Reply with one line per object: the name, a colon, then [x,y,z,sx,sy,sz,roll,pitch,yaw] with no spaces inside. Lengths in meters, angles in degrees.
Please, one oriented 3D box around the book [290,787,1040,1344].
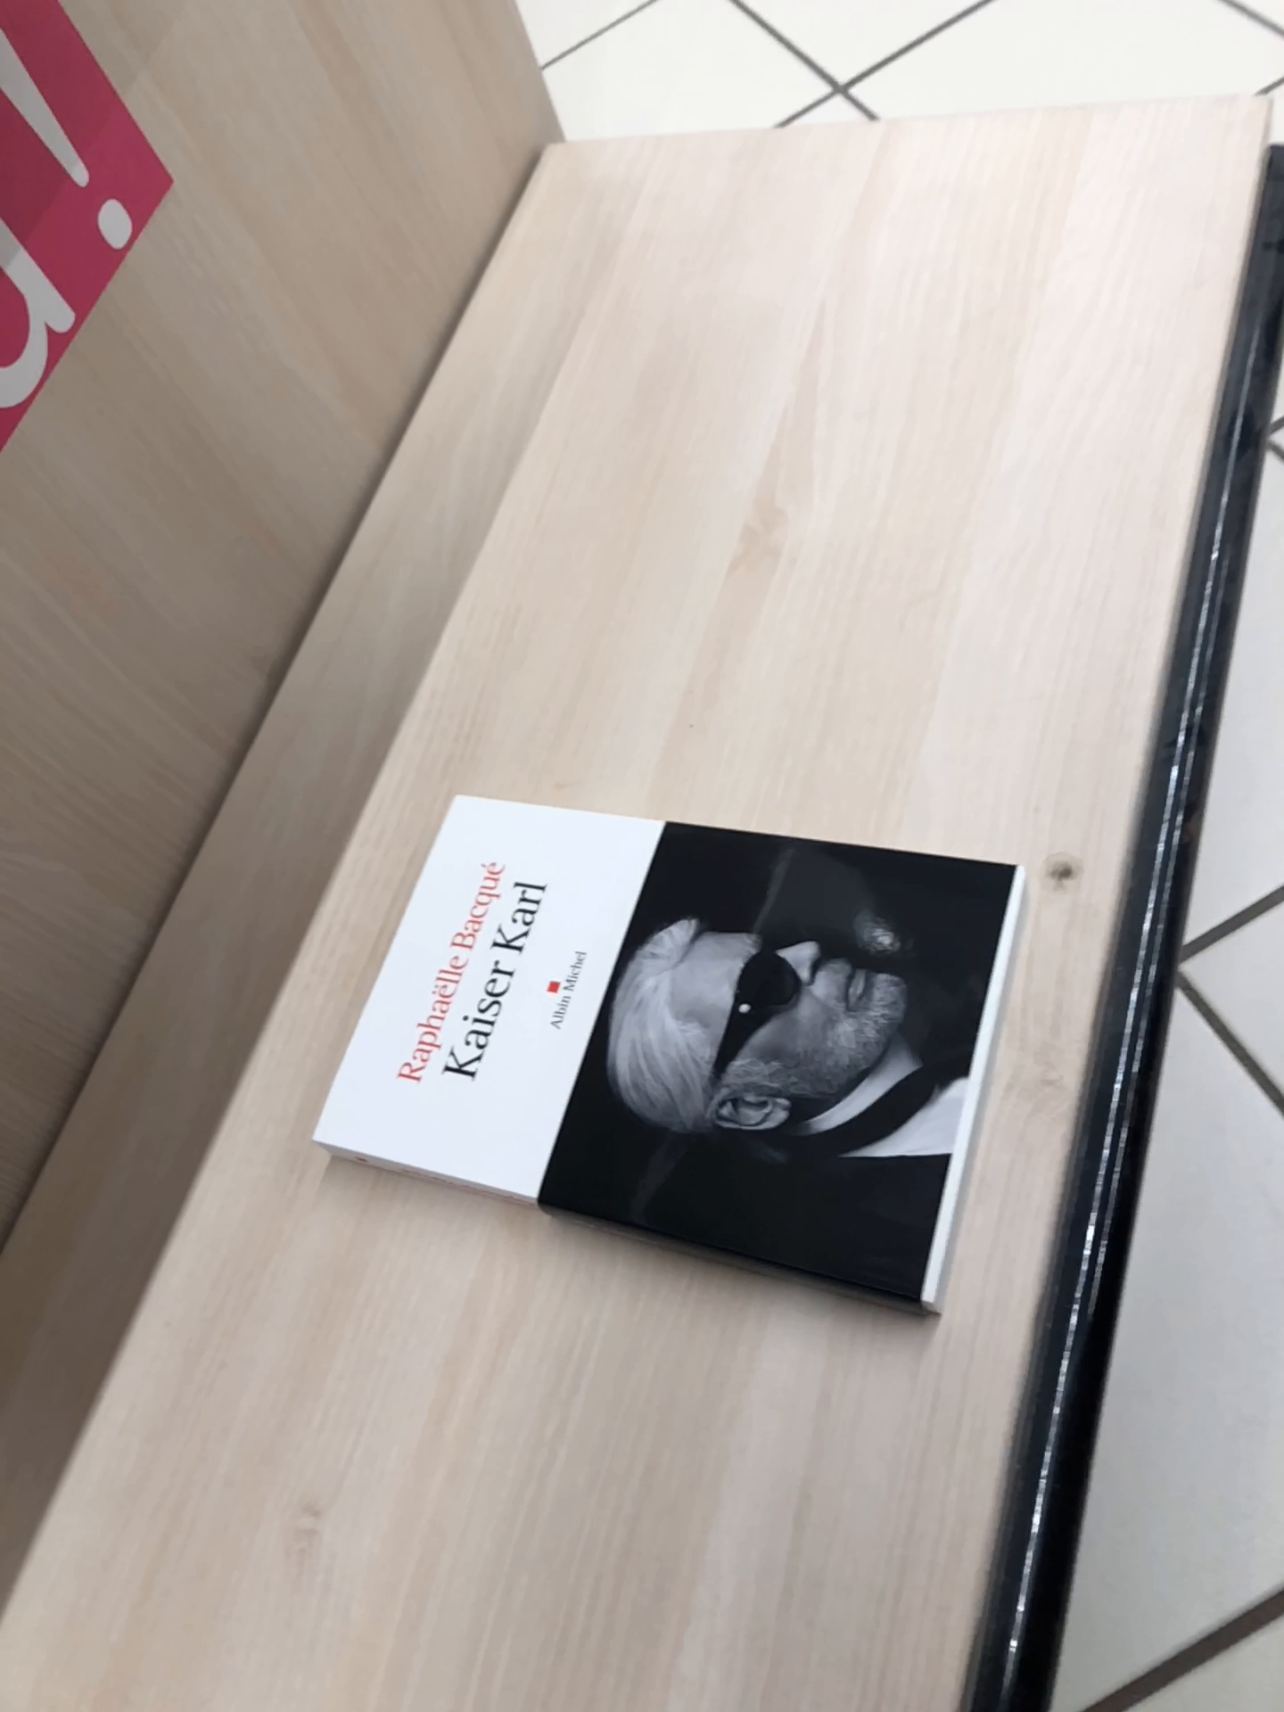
book: [0.008,0.058,0.478,0.220,0.030,0.151,7,62,23]
